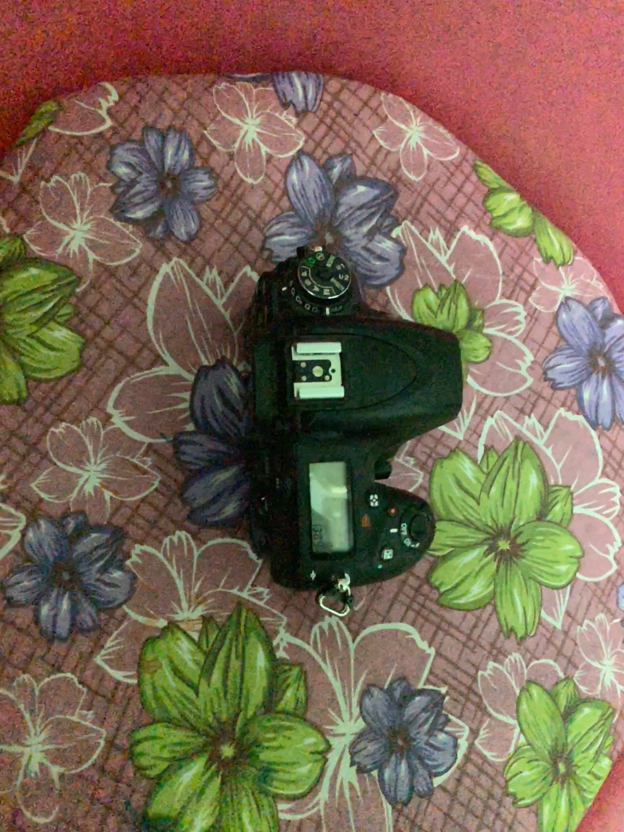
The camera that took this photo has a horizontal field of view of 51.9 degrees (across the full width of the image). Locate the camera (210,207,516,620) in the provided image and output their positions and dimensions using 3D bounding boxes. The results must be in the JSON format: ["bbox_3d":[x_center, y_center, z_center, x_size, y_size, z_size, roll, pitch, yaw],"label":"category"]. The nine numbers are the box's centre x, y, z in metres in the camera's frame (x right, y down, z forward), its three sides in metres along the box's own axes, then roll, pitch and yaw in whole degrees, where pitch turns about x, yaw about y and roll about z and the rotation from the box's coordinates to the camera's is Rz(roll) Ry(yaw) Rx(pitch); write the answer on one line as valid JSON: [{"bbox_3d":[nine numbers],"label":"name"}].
[{"bbox_3d":[0.015,-0.002,0.274,0.093,0.090,0.140,-3,88,-19],"label":"camera"}]
